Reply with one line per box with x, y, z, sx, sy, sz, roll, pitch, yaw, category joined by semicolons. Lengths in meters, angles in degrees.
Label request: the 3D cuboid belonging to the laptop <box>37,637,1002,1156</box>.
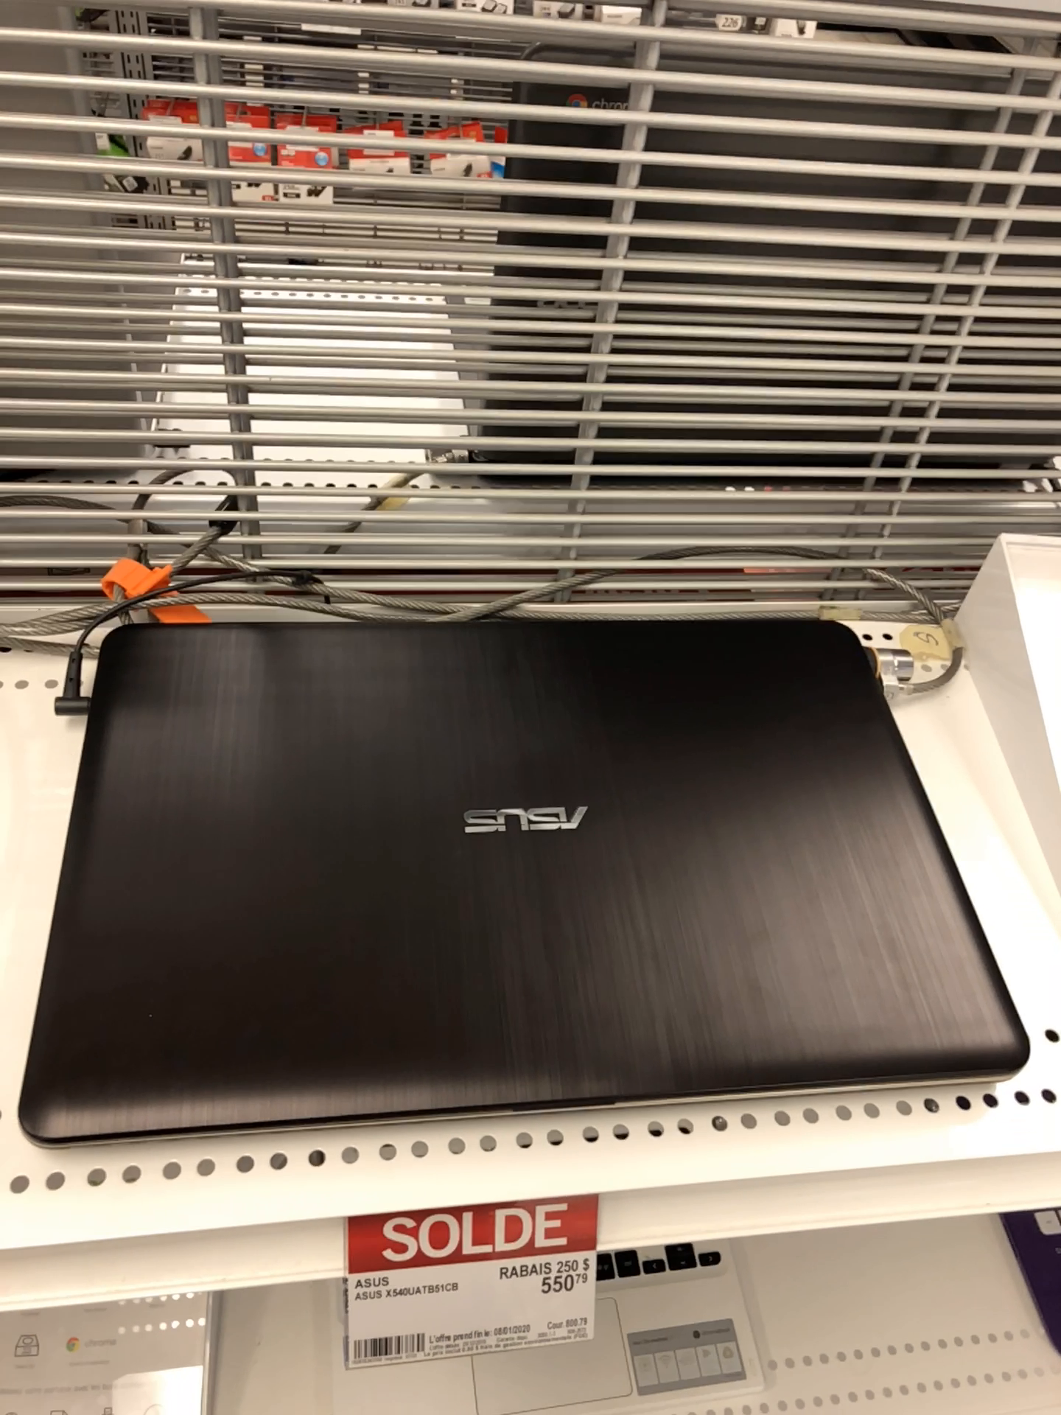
-0.001;0.059;0.517;0.367;0.013;0.235;-1;49;-11;laptop
